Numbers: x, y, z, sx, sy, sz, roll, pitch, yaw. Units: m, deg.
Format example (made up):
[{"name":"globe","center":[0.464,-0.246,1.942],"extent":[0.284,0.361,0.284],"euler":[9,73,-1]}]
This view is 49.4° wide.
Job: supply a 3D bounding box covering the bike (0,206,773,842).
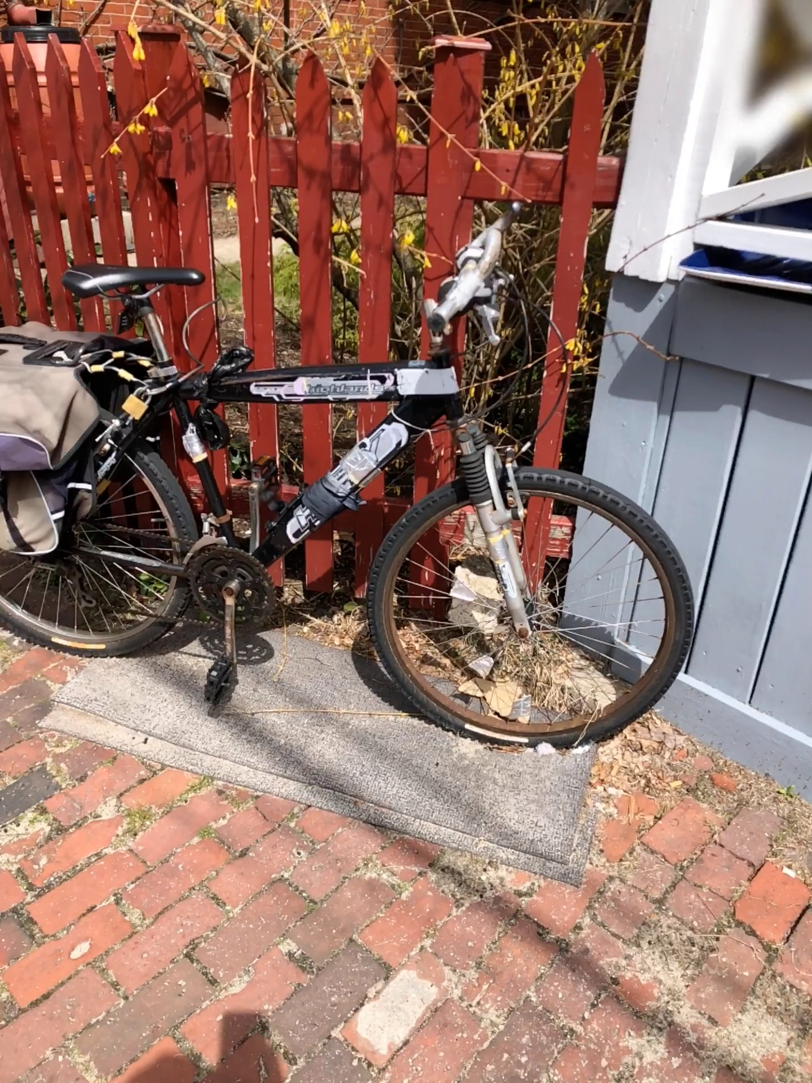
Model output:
[{"name":"bike","center":[-0.277,-0.111,1.903],"extent":[1.723,1.000,0.676],"euler":[7,28,10]}]
